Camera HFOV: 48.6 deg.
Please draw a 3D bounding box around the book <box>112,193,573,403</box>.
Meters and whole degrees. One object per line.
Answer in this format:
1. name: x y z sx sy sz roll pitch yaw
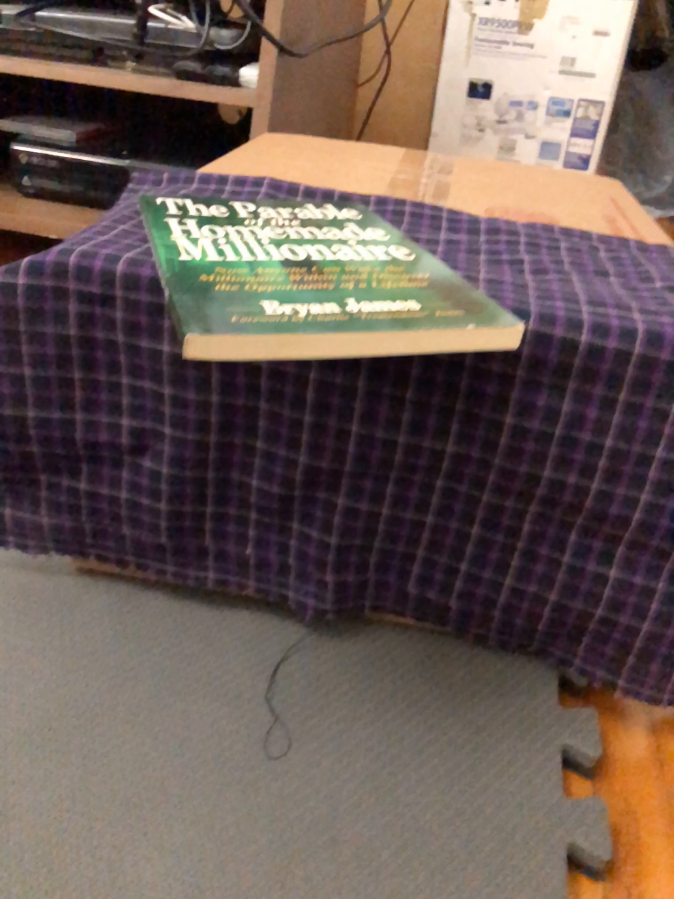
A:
1. book: -0.017 -0.084 0.355 0.160 0.020 0.211 -5 32 -18
